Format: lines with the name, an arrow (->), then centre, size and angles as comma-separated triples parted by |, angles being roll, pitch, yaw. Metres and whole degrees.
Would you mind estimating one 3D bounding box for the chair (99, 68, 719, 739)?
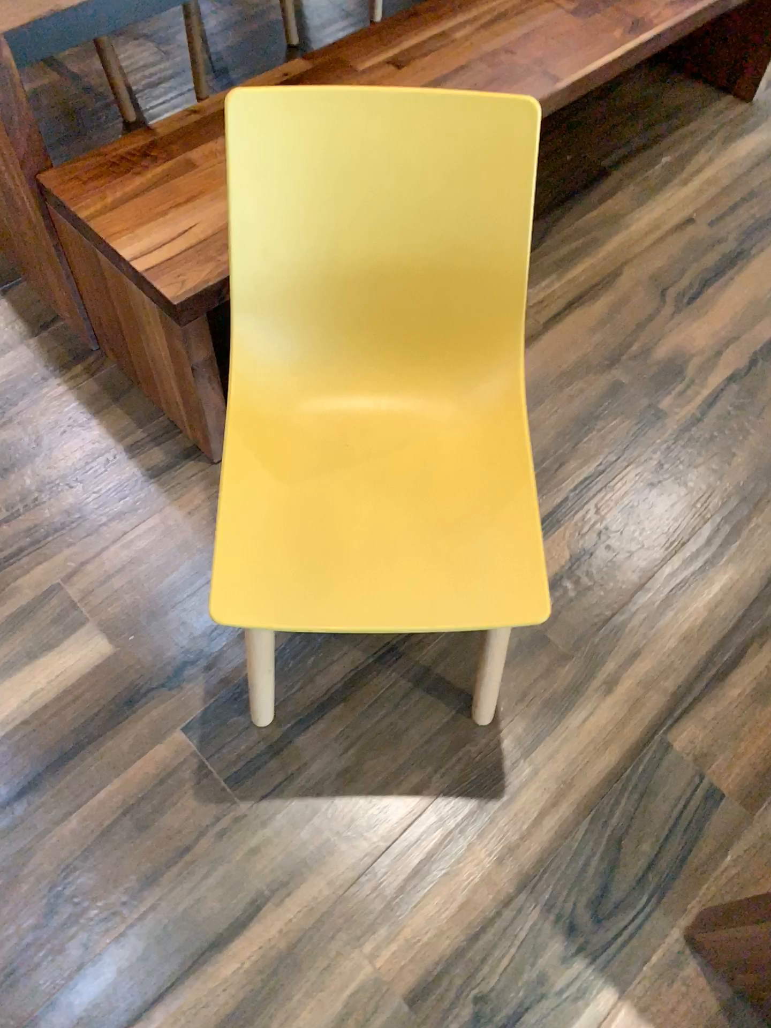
chair -> 0.000, -0.068, 1.005 | 0.450, 0.715, 0.503 | 0, 58, -3
